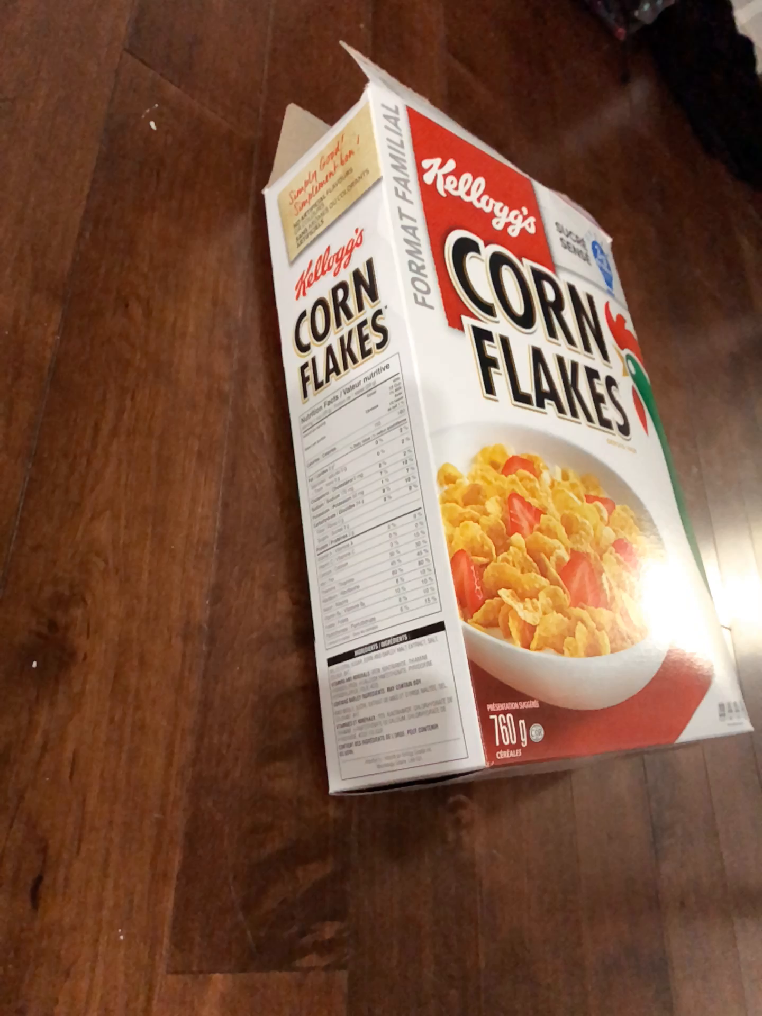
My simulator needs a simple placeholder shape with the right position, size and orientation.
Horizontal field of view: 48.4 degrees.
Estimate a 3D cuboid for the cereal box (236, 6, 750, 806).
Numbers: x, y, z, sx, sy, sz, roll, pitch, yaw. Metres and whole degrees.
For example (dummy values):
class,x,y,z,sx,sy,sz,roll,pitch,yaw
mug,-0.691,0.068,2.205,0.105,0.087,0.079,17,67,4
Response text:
class,x,y,z,sx,sy,sz,roll,pitch,yaw
cereal box,0.065,-0.046,0.490,0.261,0.090,0.380,10,64,-43
